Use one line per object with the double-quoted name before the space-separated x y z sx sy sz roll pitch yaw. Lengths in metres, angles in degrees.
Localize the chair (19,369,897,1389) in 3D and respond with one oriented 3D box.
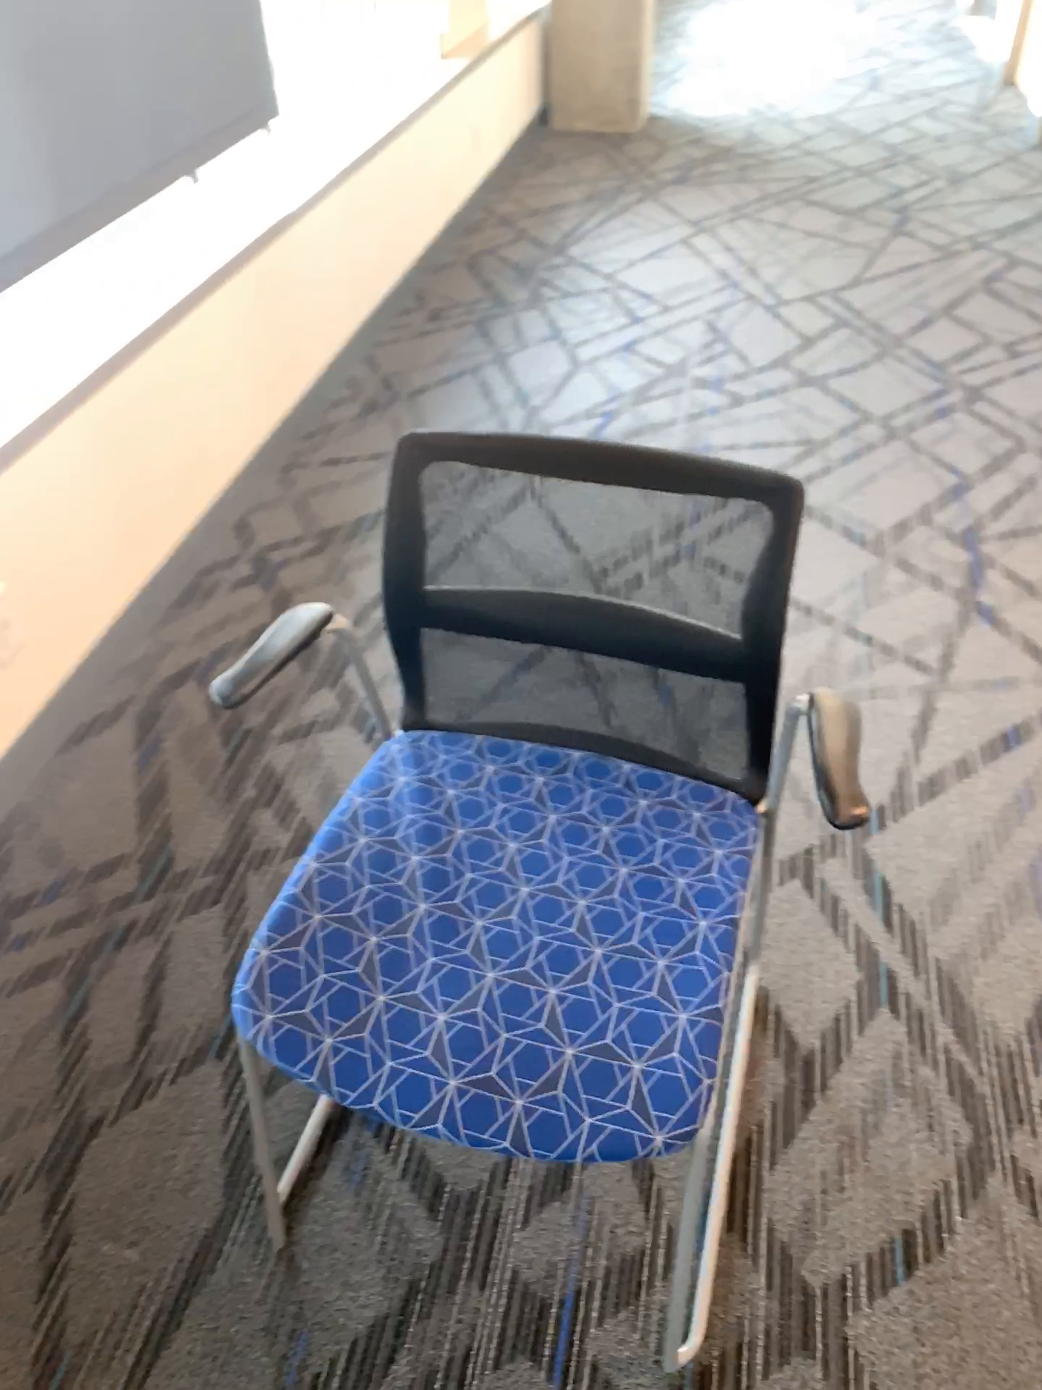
"chair" 0.022 0.178 1.086 0.530 0.763 0.585 10 41 14
